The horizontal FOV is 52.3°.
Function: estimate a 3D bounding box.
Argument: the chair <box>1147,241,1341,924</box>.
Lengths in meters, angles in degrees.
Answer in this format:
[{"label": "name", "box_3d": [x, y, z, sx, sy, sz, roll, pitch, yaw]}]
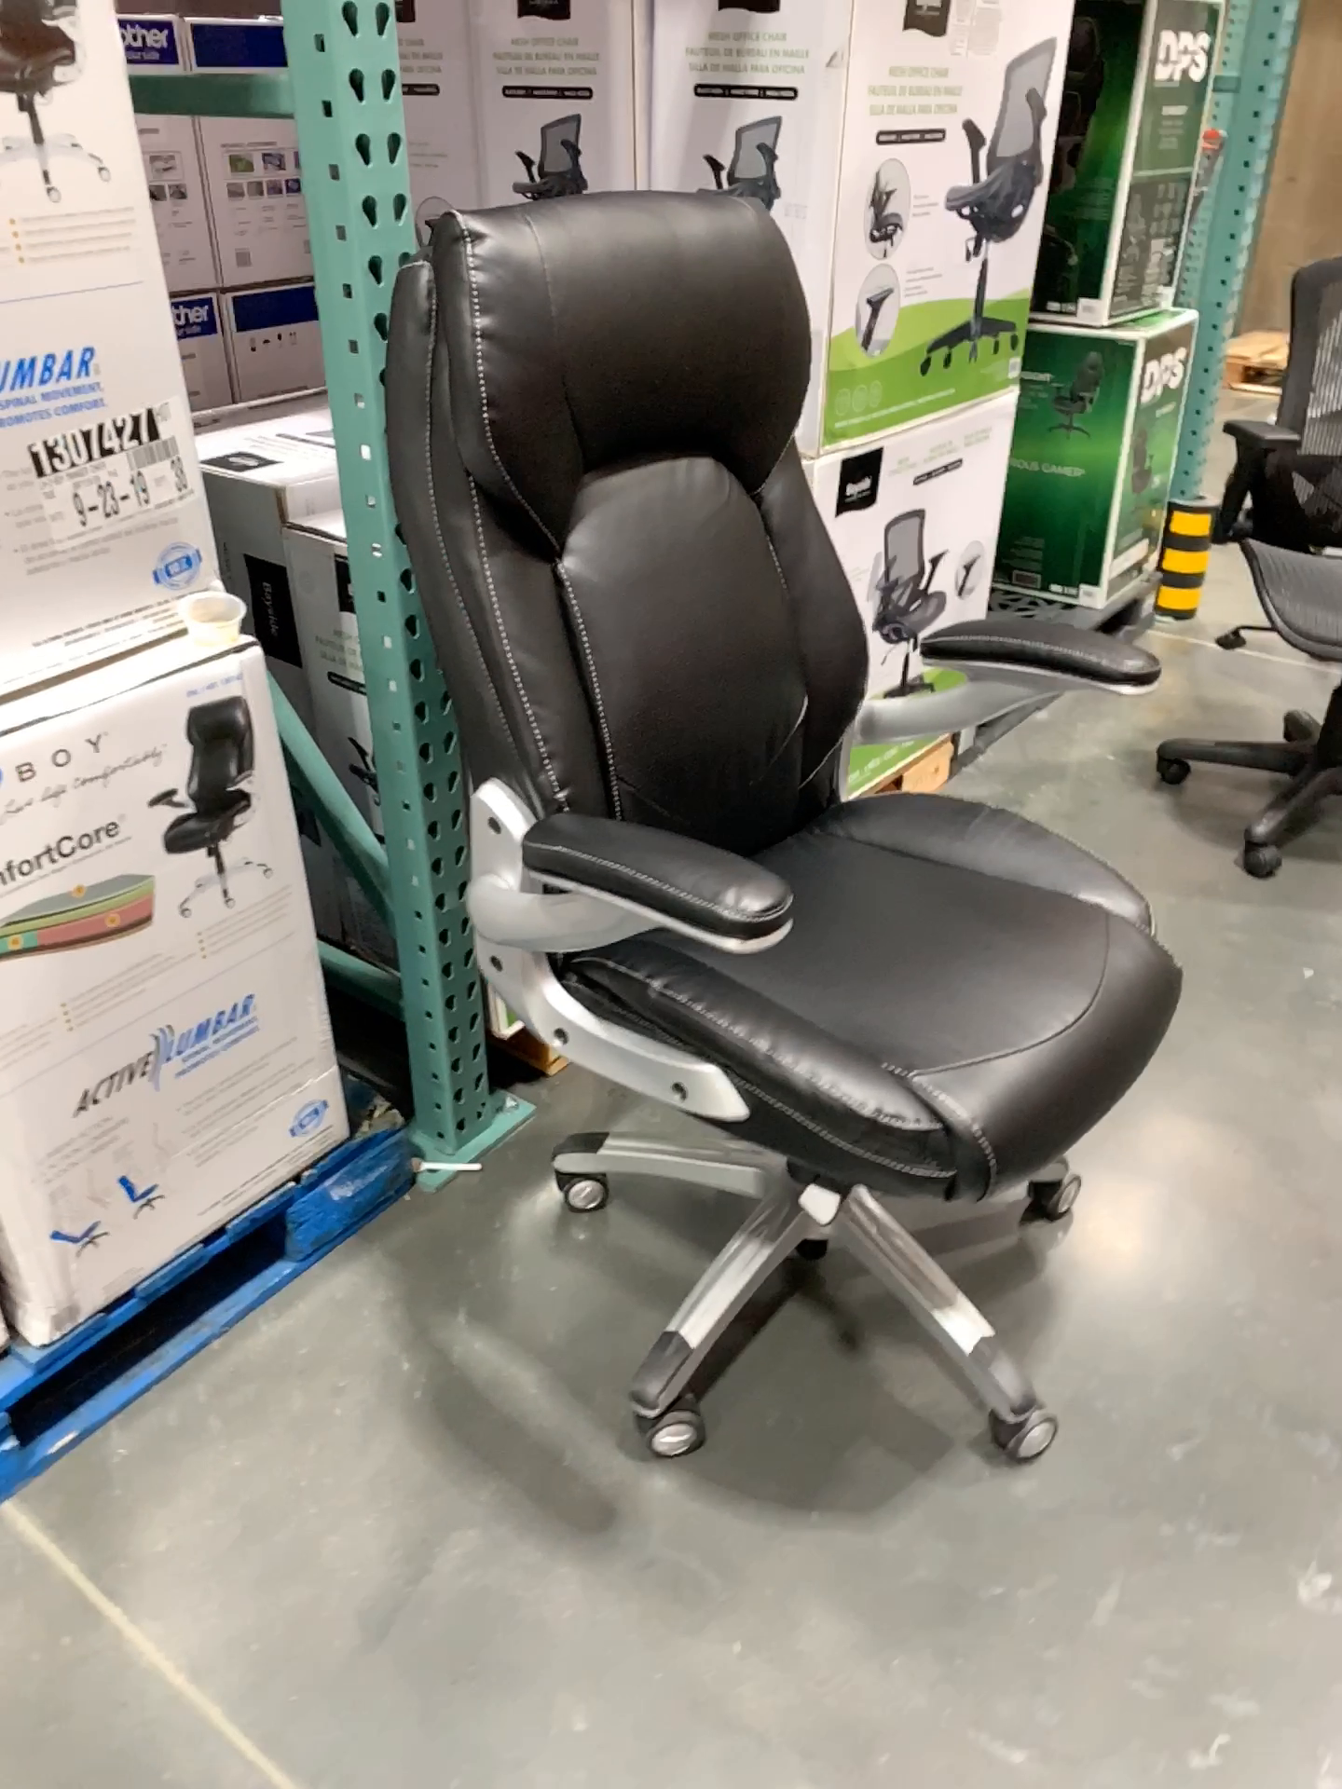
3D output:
[{"label": "chair", "box_3d": [1.254, -0.589, 2.396, 0.638, 0.919, 0.788, 9, 32, 14]}]

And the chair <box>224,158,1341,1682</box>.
[{"label": "chair", "box_3d": [0.169, -0.057, 1.346, 0.706, 1.128, 0.730, 25, 39, 35]}]
